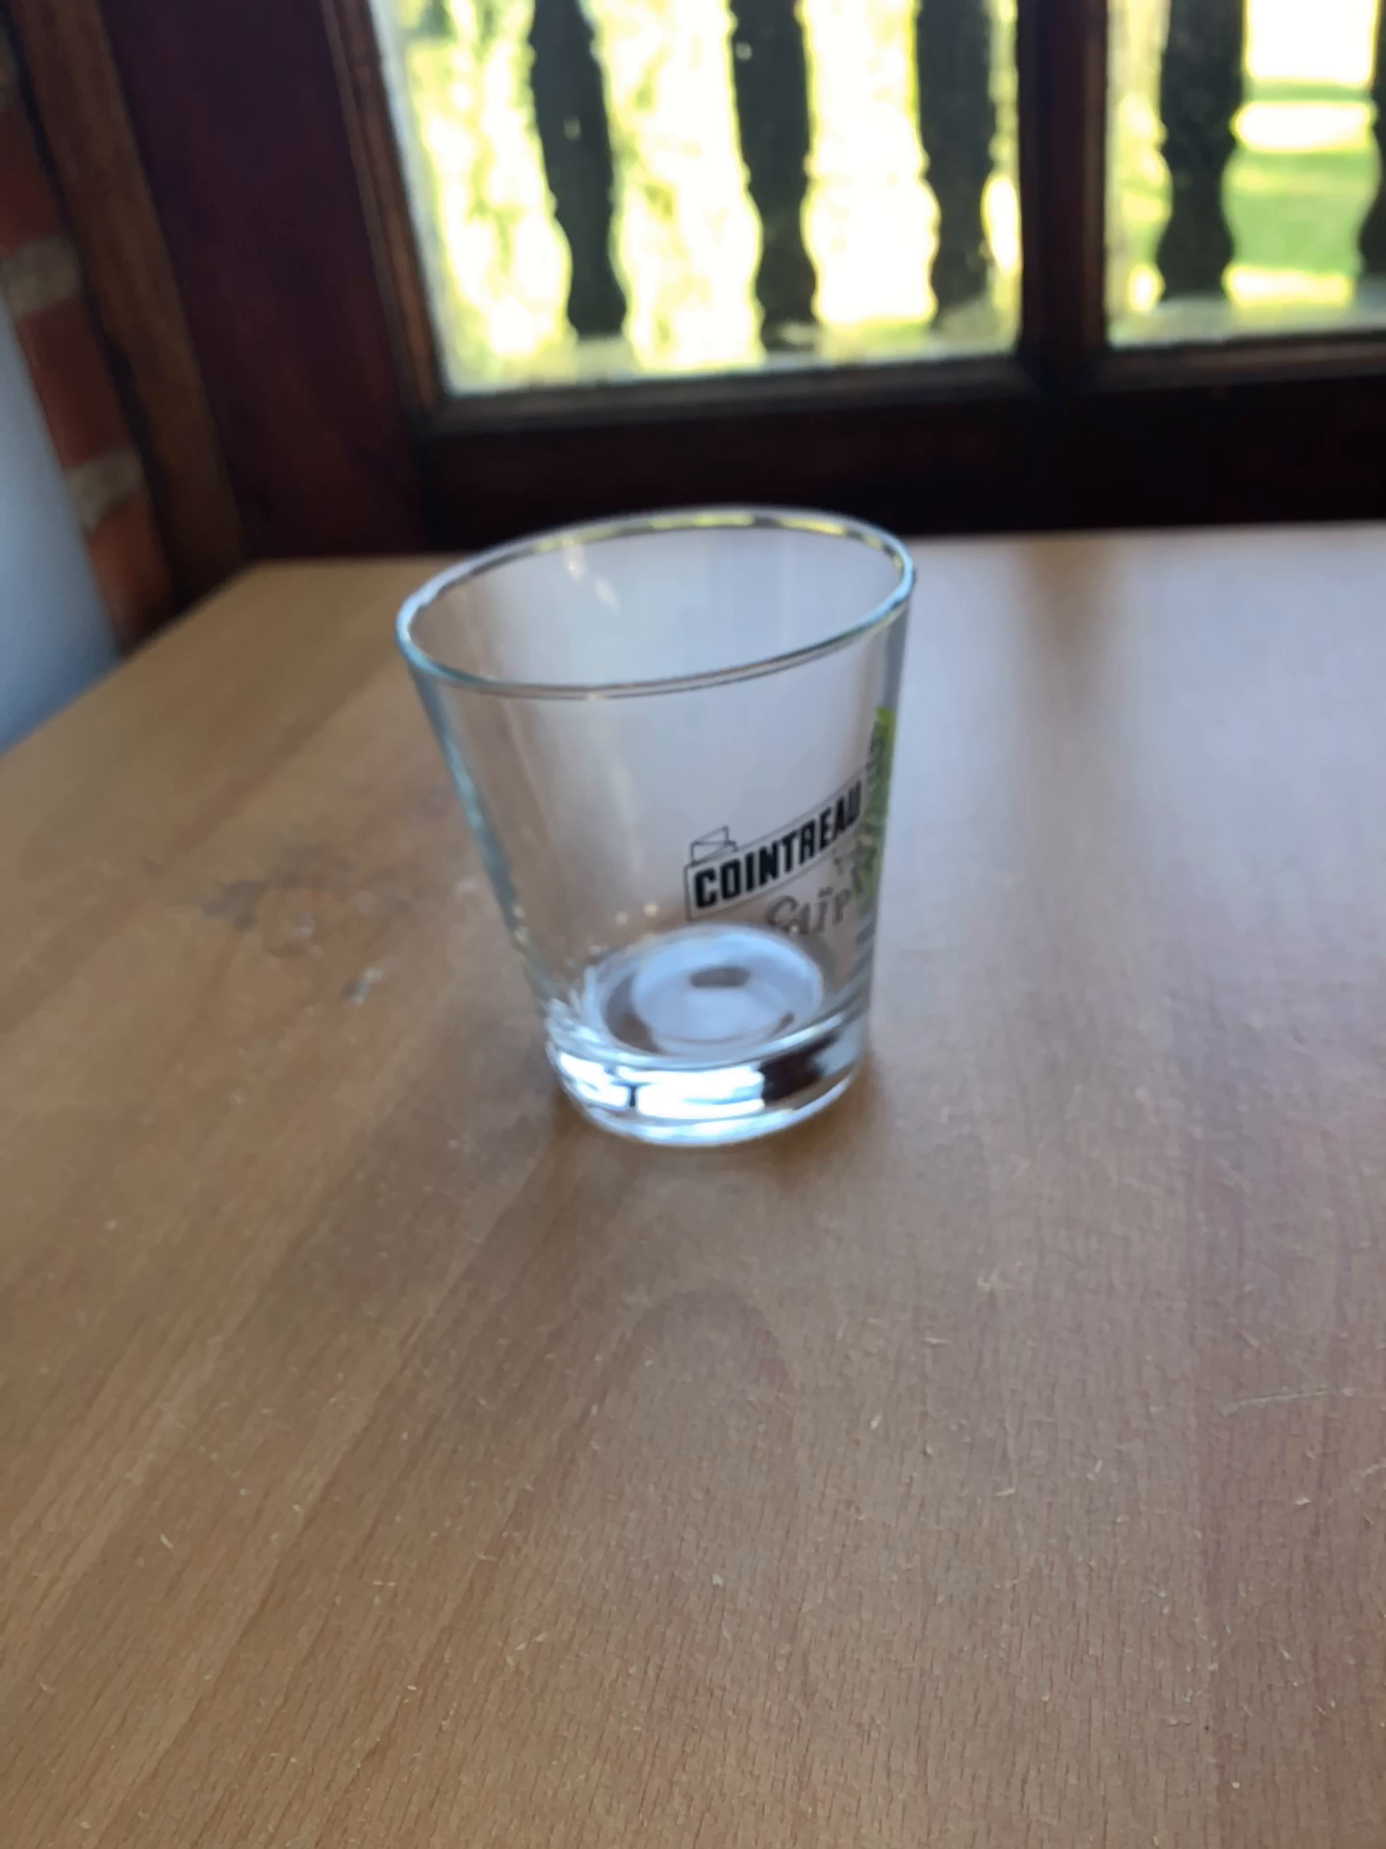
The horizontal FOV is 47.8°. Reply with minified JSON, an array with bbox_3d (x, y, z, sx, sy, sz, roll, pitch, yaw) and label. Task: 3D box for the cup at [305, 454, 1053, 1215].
[{"bbox_3d":[-0.001,-0.020,0.241,0.079,0.073,0.076,-6,31,3],"label":"cup"}]
